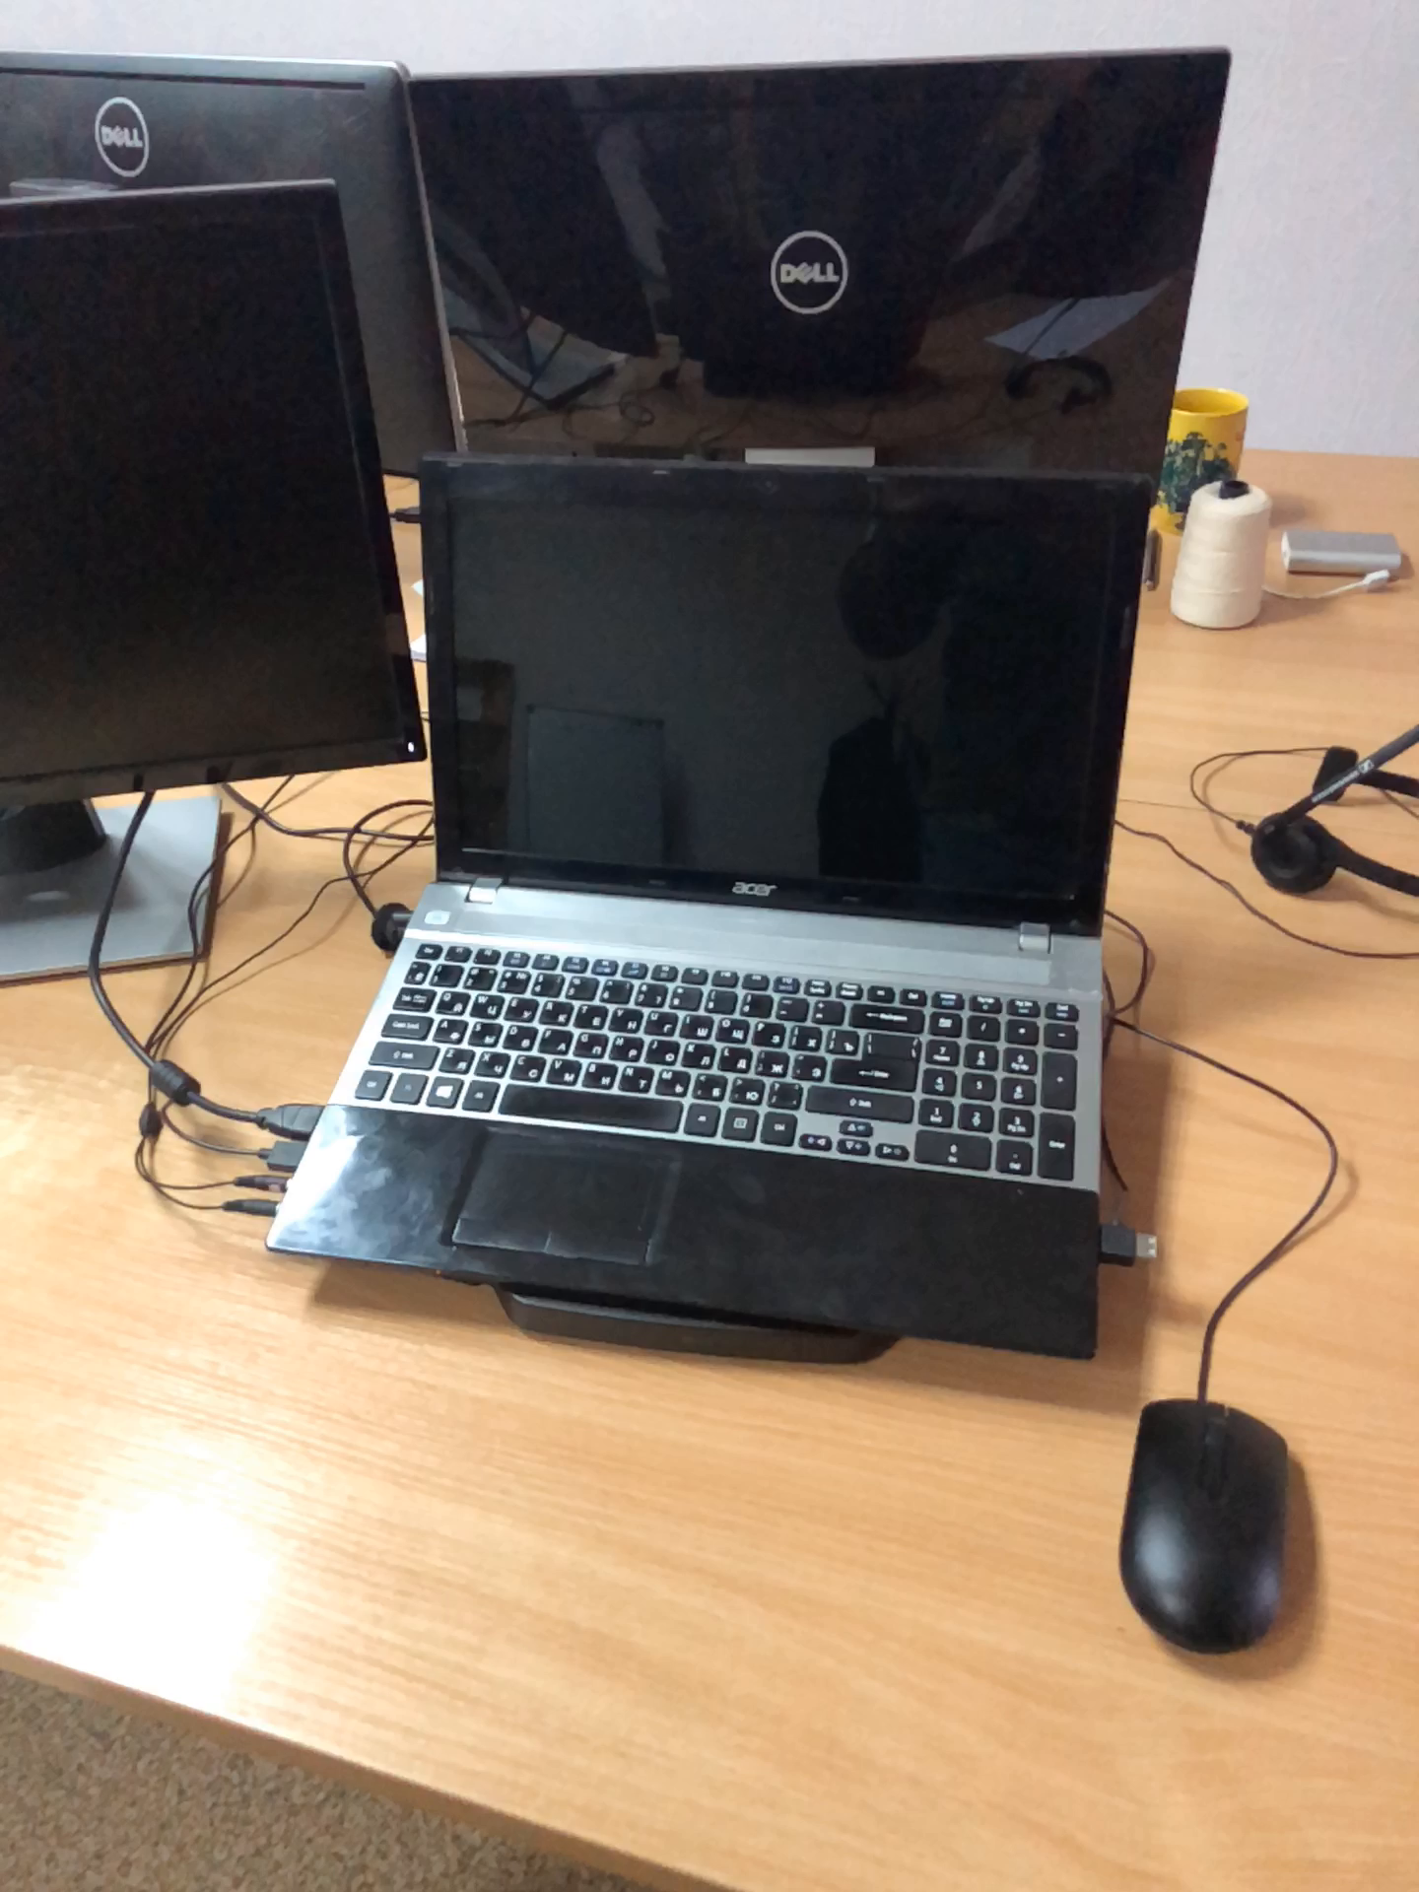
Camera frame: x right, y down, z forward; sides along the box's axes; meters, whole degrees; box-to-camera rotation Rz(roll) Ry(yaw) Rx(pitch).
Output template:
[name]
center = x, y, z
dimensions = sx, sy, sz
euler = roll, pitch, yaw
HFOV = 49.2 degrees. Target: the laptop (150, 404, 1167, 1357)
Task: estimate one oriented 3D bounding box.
[laptop]
center = 0.009, -0.059, 0.731
dimensions = 0.370, 0.215, 0.354
euler = 5, 44, 11
